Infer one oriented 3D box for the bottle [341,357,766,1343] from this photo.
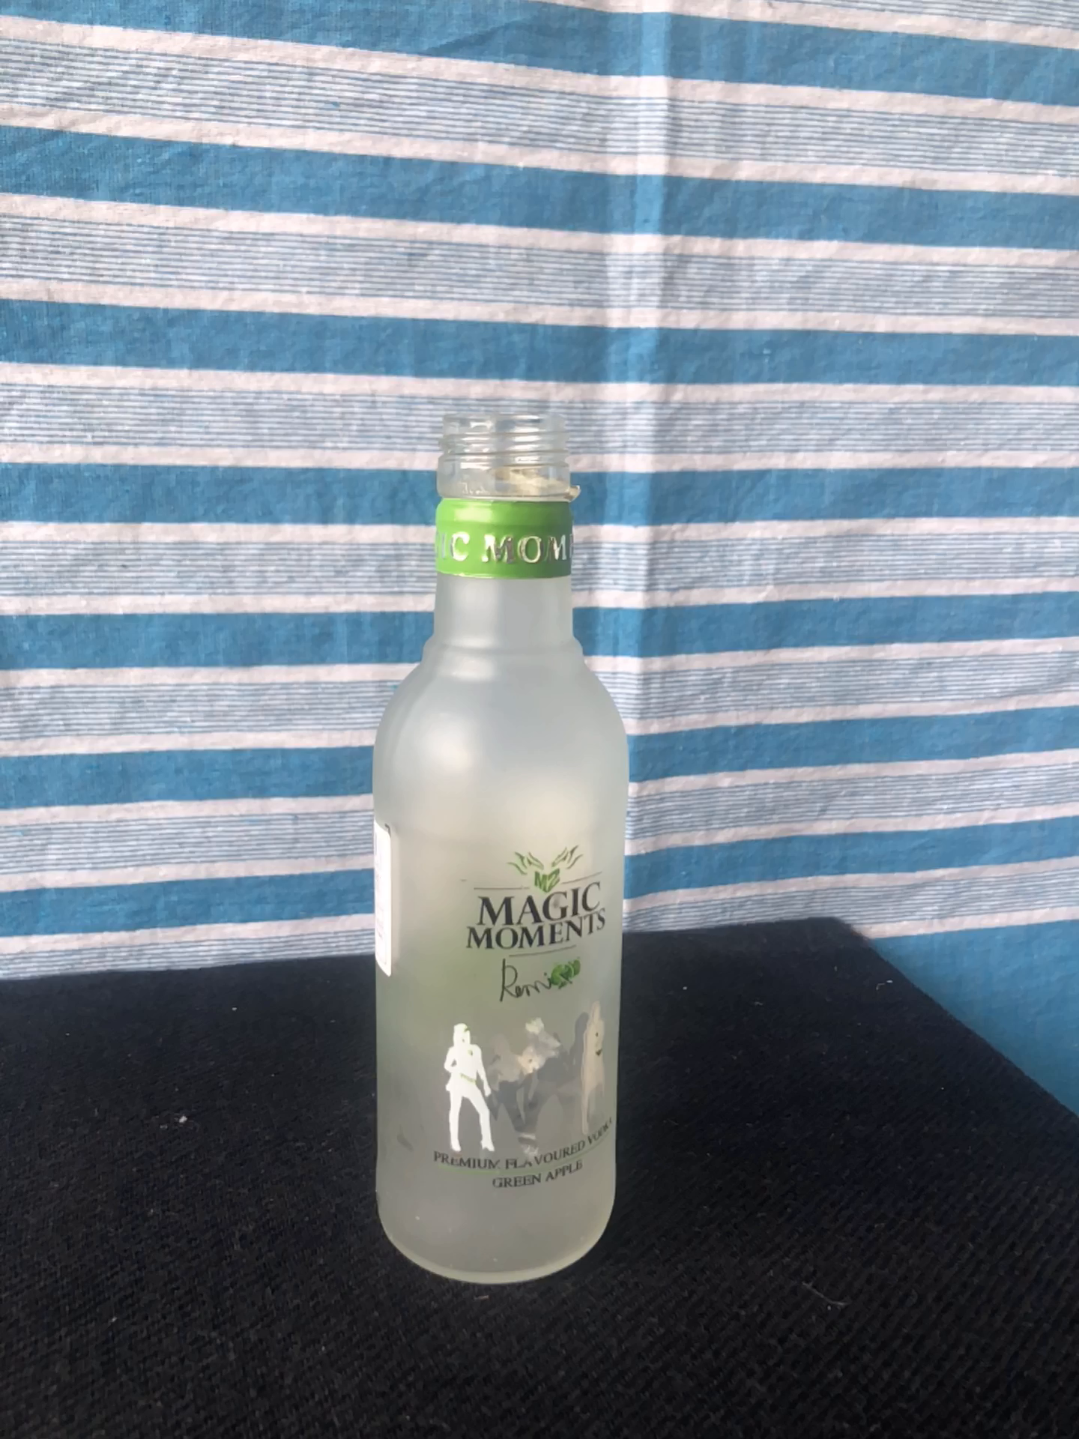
[{"bbox_3d":[-0.004,0.019,0.202,0.050,0.149,0.050,3,15,-1],"label":"bottle"}]
